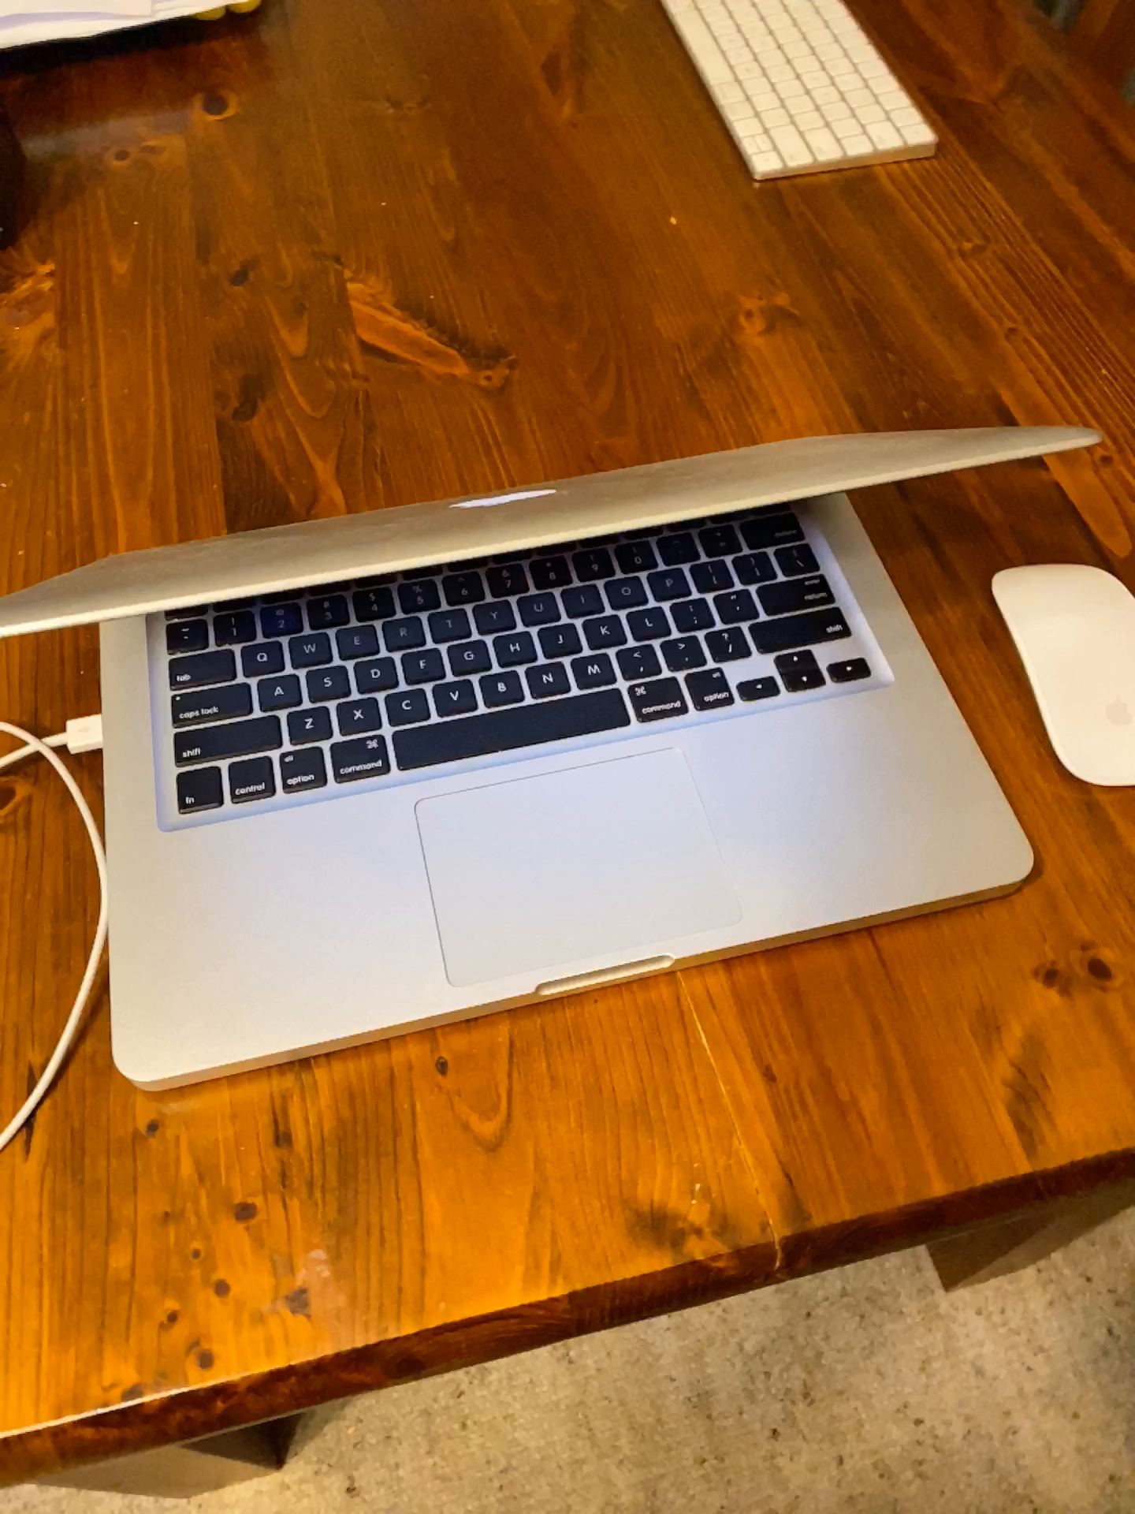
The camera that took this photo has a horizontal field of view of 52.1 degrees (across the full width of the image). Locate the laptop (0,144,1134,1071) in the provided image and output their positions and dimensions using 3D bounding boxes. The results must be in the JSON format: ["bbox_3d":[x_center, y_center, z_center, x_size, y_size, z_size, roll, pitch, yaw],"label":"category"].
[{"bbox_3d":[-0.013,-0.056,0.383,0.311,0.136,0.212,-11,58,-7],"label":"laptop"}]
